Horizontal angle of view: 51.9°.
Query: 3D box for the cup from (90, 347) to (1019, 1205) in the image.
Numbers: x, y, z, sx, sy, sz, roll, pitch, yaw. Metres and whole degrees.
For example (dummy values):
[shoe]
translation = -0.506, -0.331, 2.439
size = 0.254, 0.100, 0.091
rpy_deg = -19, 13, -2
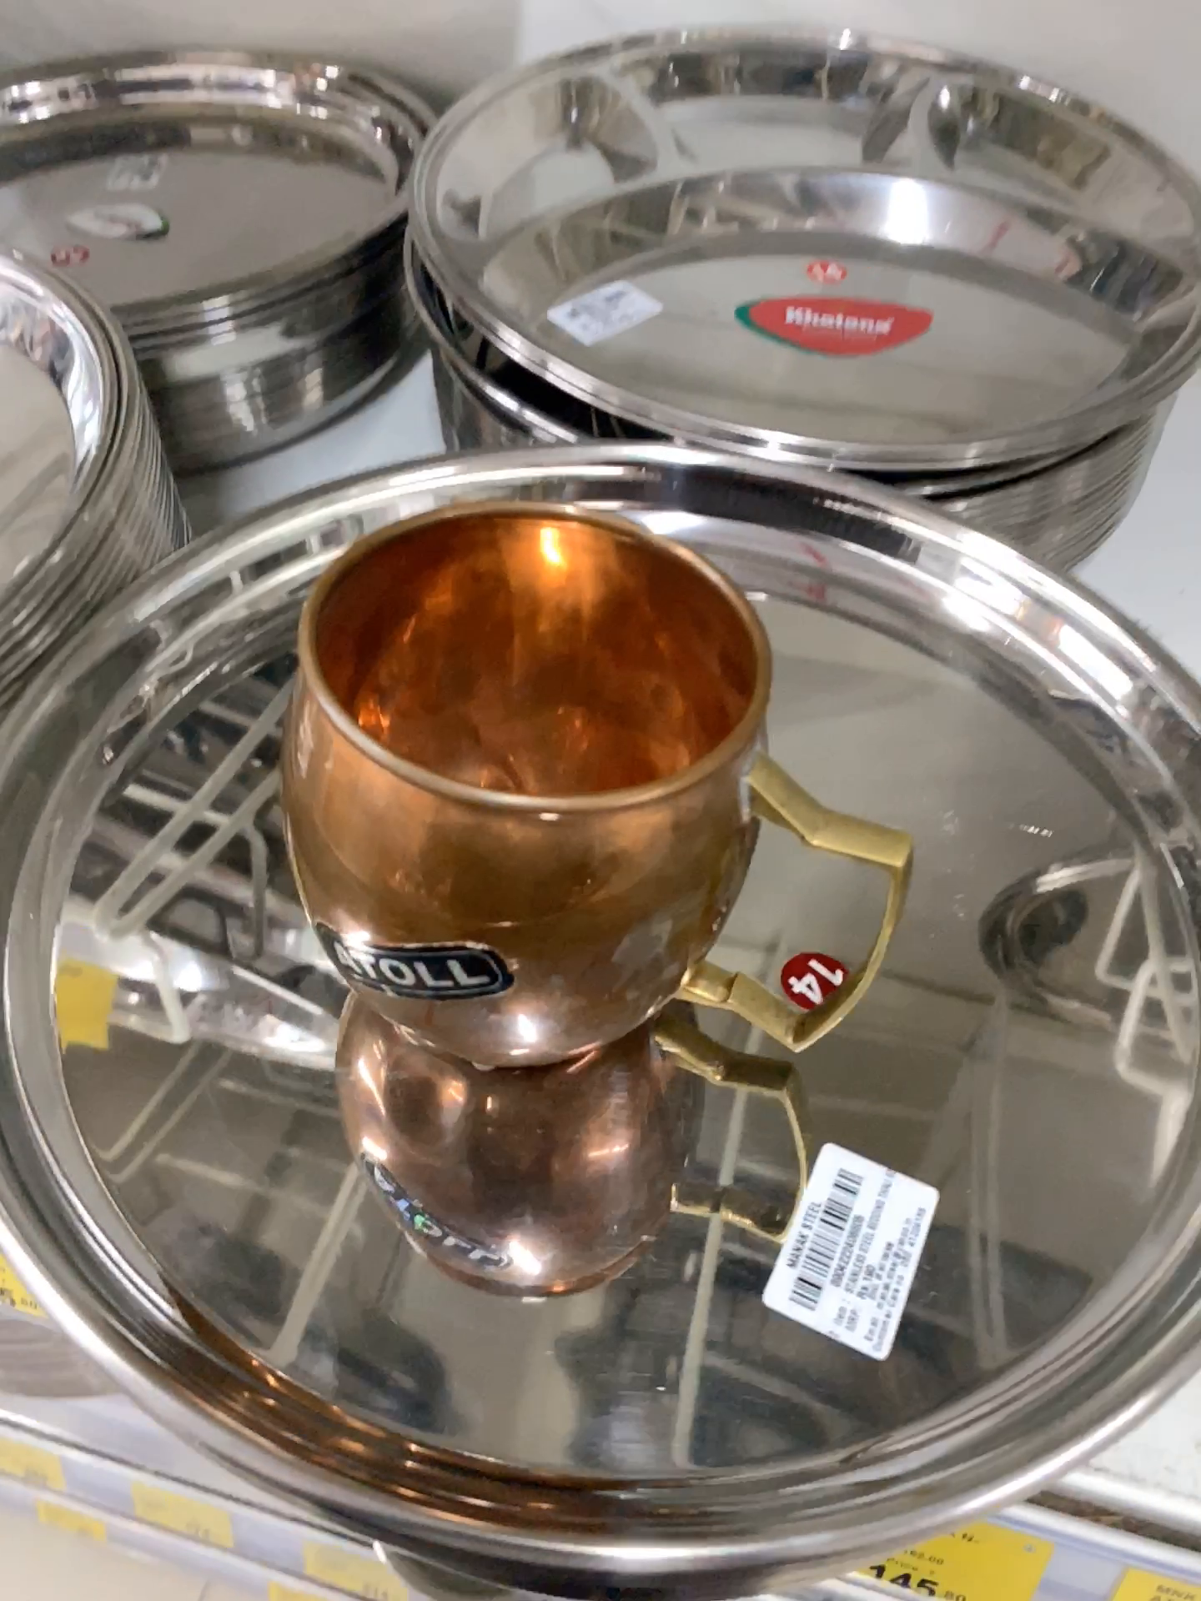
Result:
[cup]
translation = -0.004, -0.006, 0.230
size = 0.120, 0.090, 0.090
rpy_deg = 20, 53, 12
